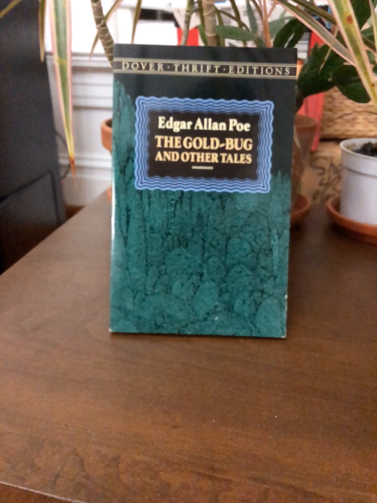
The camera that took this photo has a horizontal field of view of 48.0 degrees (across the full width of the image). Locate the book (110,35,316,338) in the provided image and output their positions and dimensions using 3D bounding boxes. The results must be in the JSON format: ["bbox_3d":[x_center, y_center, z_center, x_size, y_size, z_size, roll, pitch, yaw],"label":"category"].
[{"bbox_3d":[0.016,-0.045,0.311,0.140,0.210,0.020,2,3,1],"label":"book"}]
